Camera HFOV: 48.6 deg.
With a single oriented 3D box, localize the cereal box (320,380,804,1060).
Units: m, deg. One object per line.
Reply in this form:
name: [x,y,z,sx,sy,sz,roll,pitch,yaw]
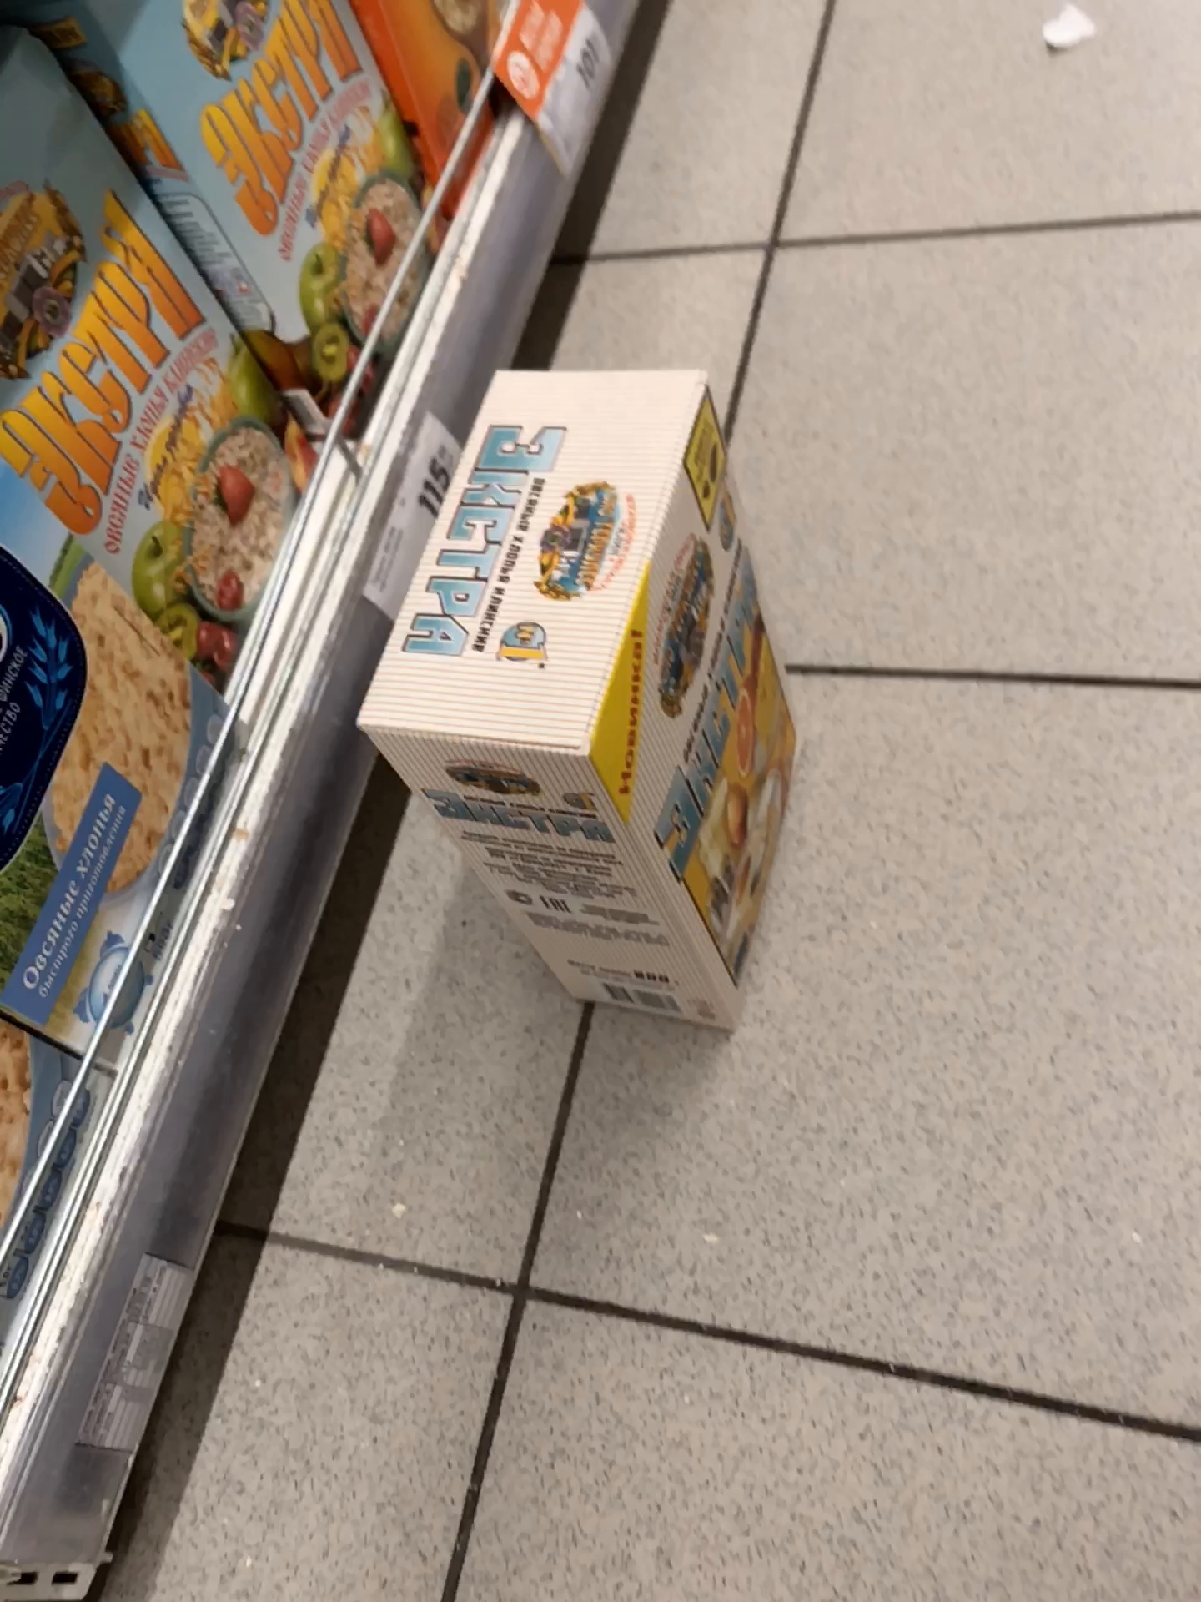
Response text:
cereal box: [0.006,-0.017,0.509,0.080,0.239,0.150,7,64,21]
